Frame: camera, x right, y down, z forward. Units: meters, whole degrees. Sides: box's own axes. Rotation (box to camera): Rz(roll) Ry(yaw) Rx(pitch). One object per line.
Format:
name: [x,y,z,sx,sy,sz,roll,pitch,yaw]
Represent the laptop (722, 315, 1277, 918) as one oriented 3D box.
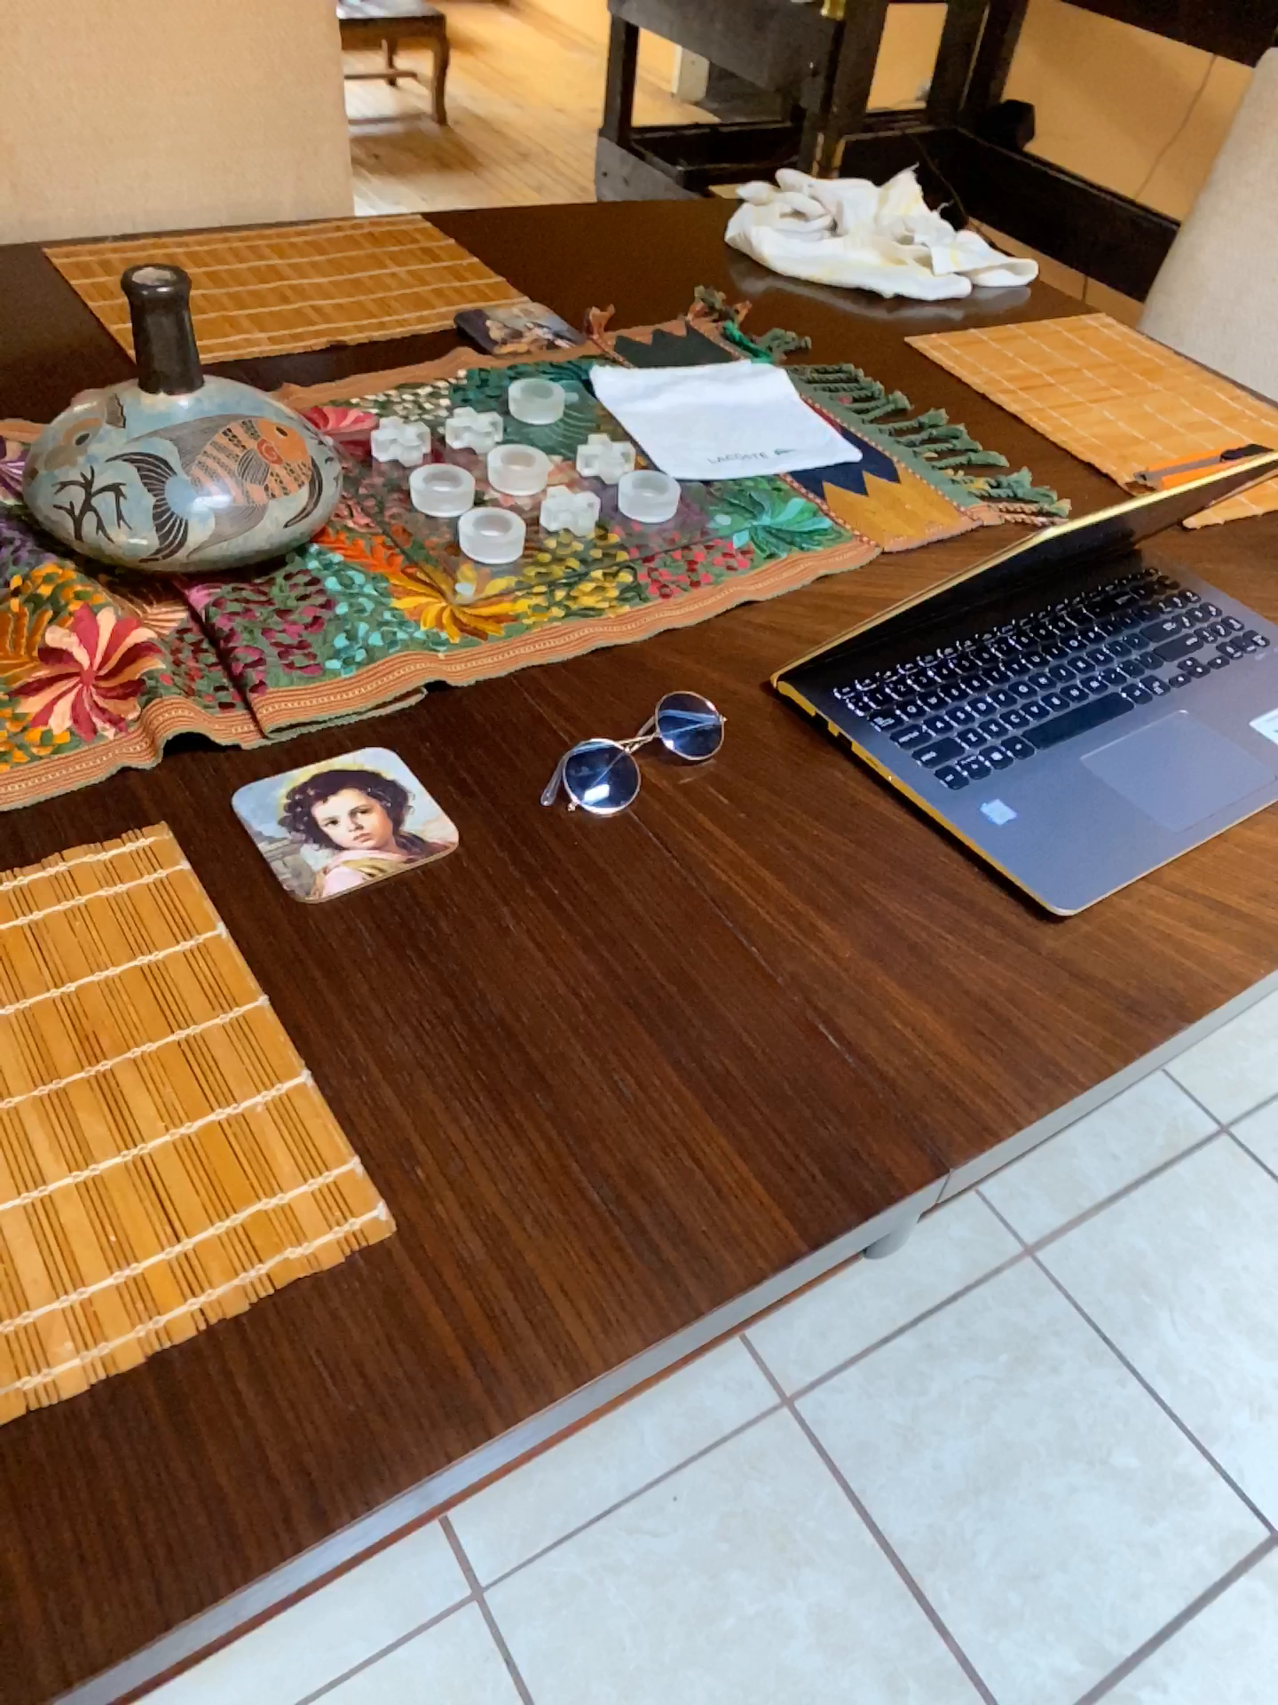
laptop: [0.287,-0.171,0.813,0.378,0.181,0.250,-23,52,-30]
